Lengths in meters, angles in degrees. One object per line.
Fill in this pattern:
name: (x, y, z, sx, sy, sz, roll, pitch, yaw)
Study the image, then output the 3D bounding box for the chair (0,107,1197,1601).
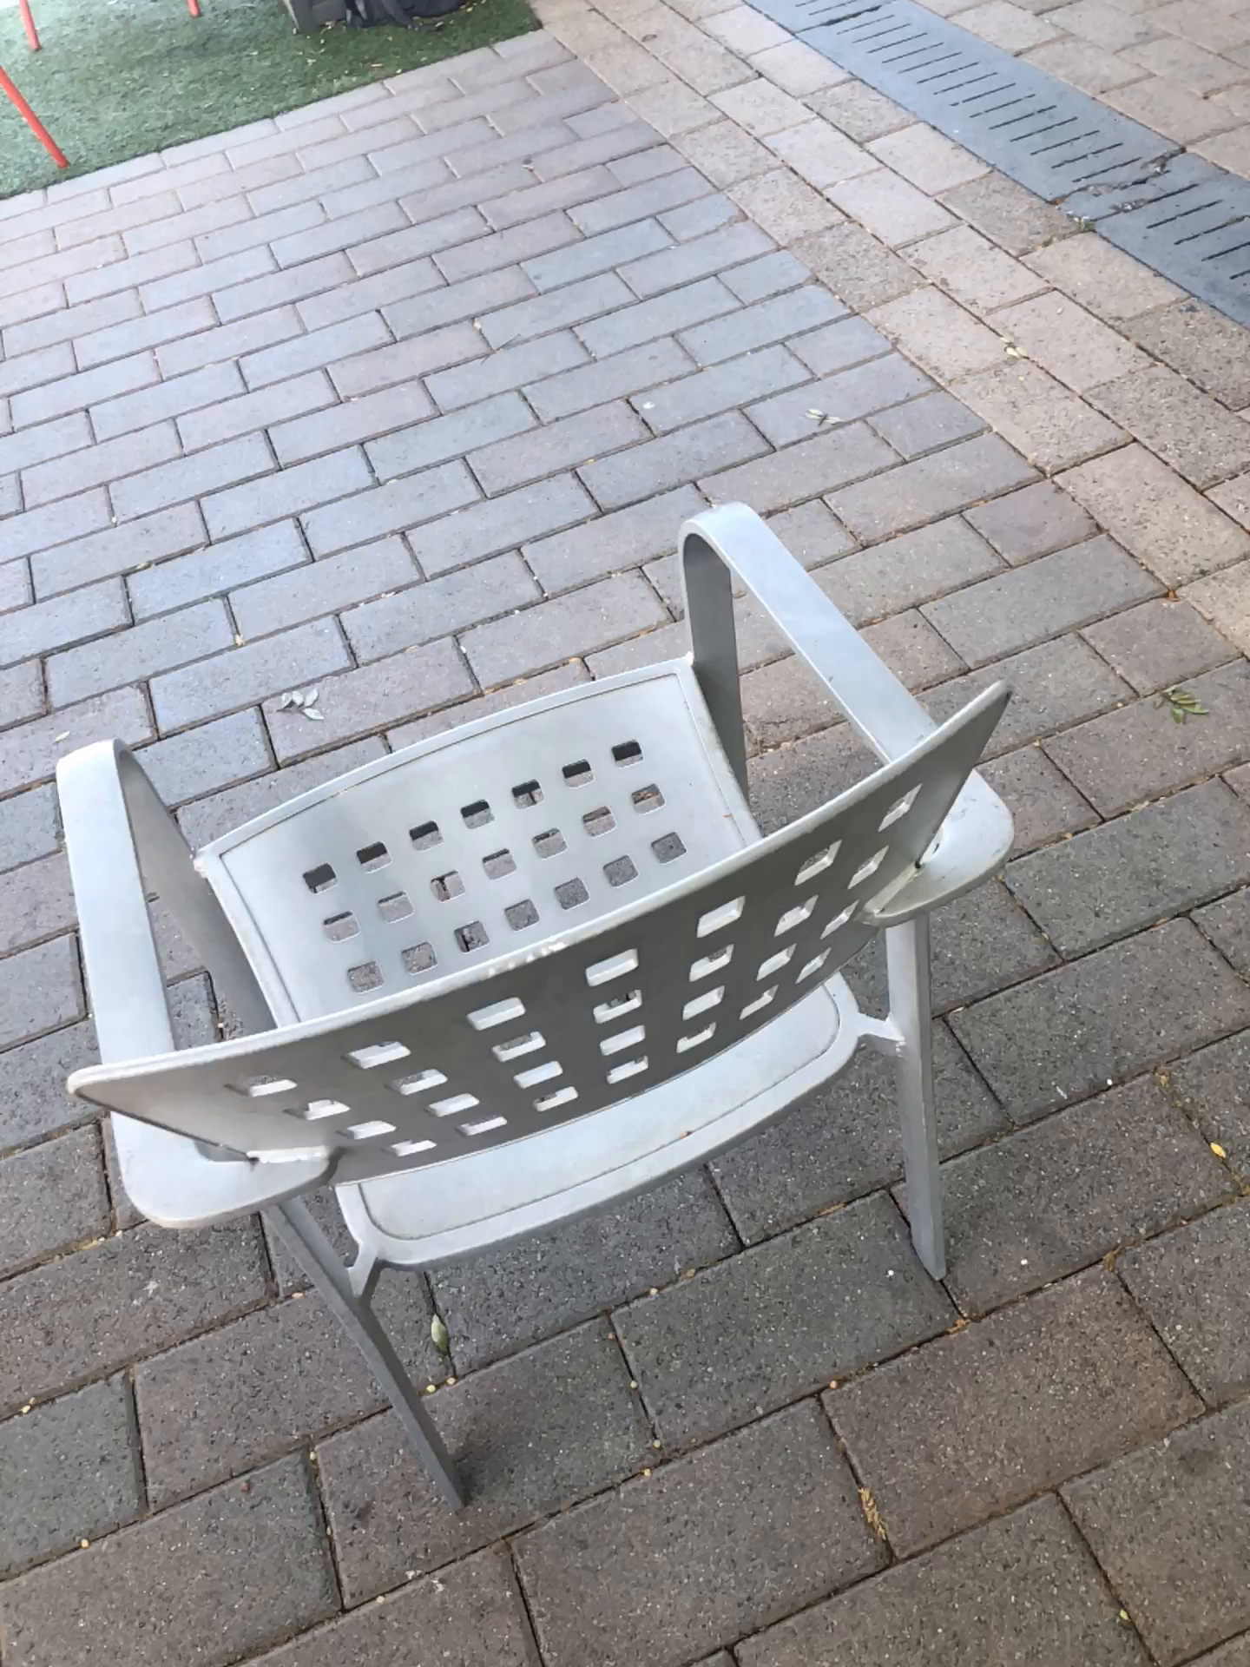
chair: (-0.096, 0.050, 1.043, 0.630, 0.777, 0.593, -23, 51, -9)
